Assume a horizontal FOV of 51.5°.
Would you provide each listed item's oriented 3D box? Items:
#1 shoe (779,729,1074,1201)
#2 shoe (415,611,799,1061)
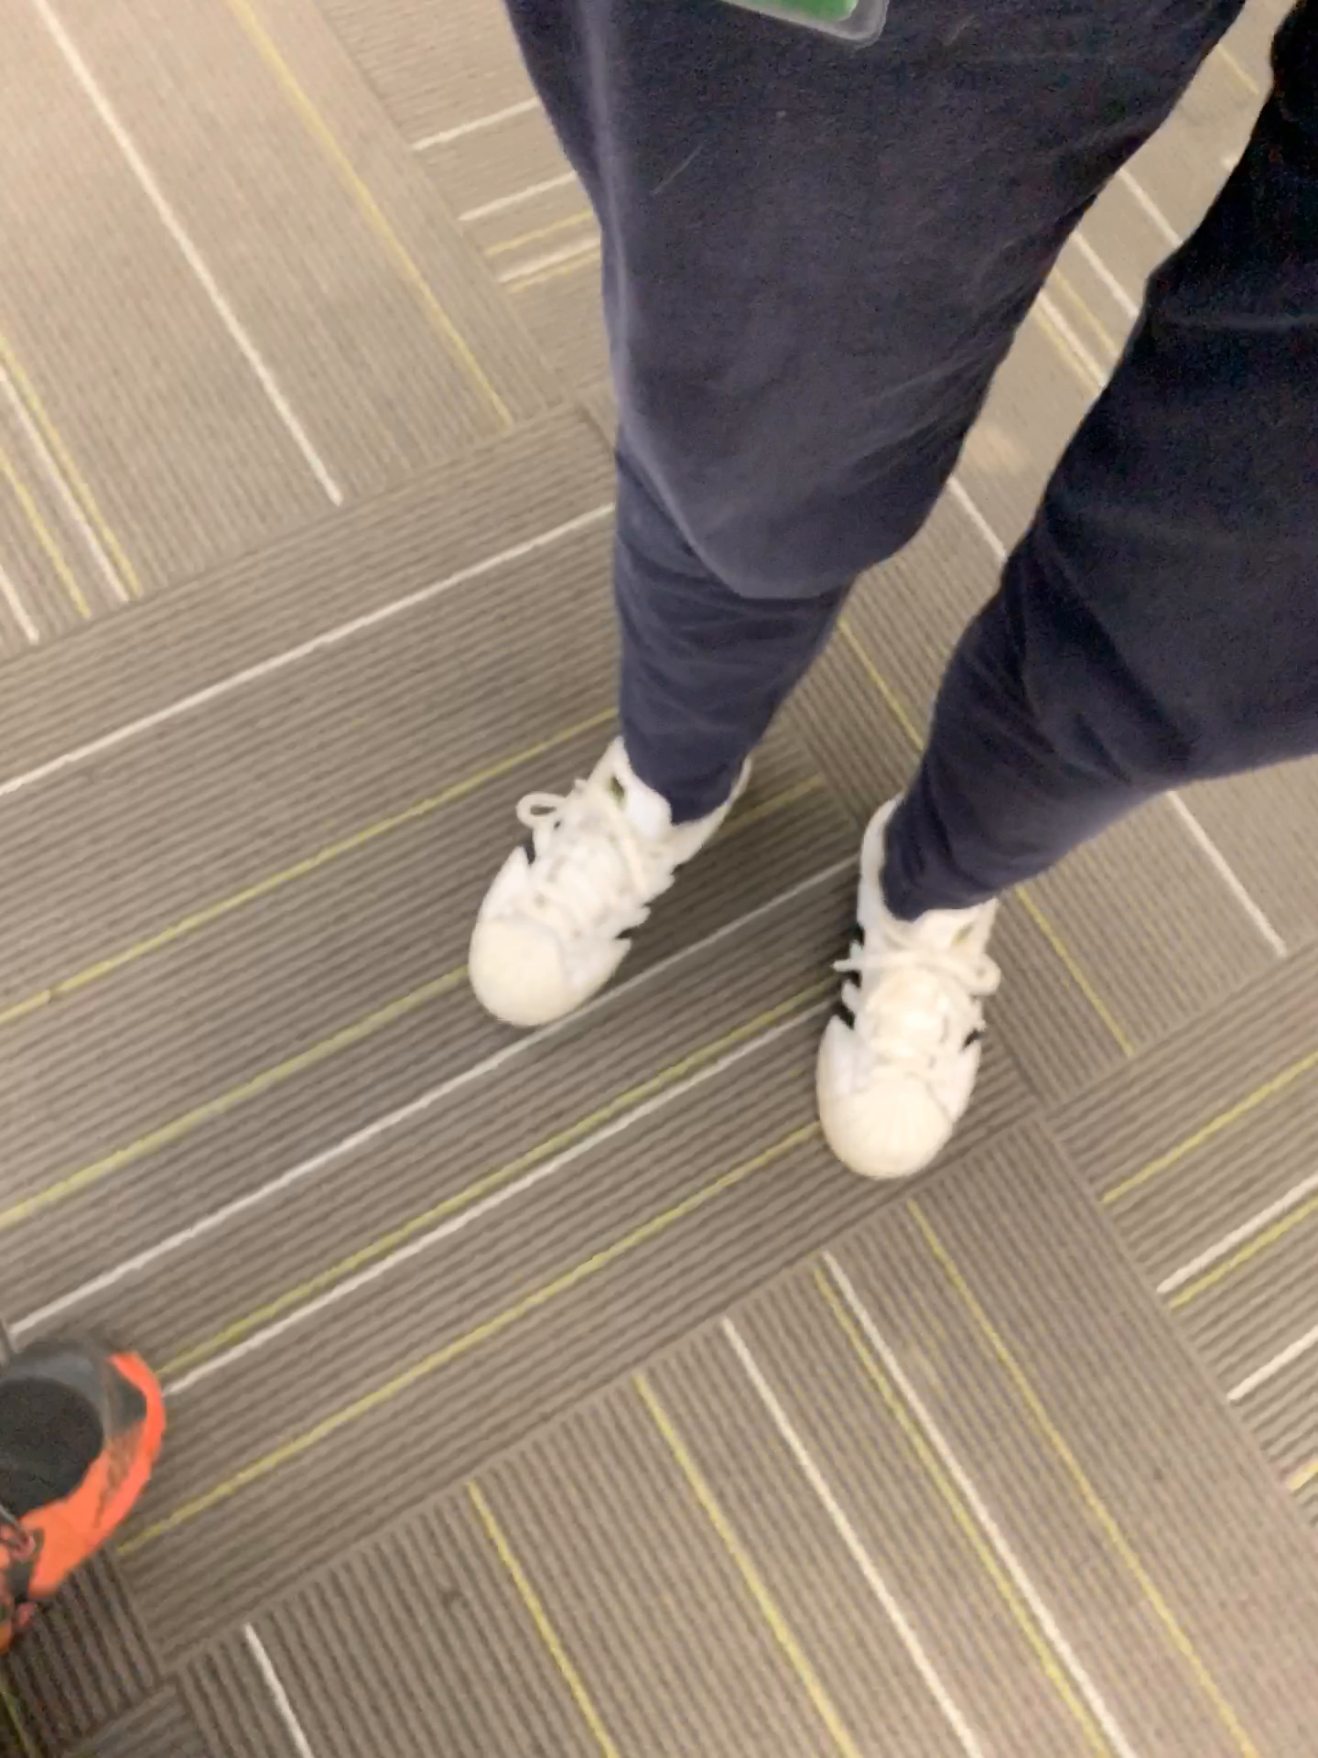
[{"bbox_3d":[0.169,0.056,0.868,0.108,0.104,0.262,17,71,-1],"label":"shoe"},{"bbox_3d":[-0.032,-0.027,0.879,0.105,0.104,0.258,34,72,5],"label":"shoe"}]
